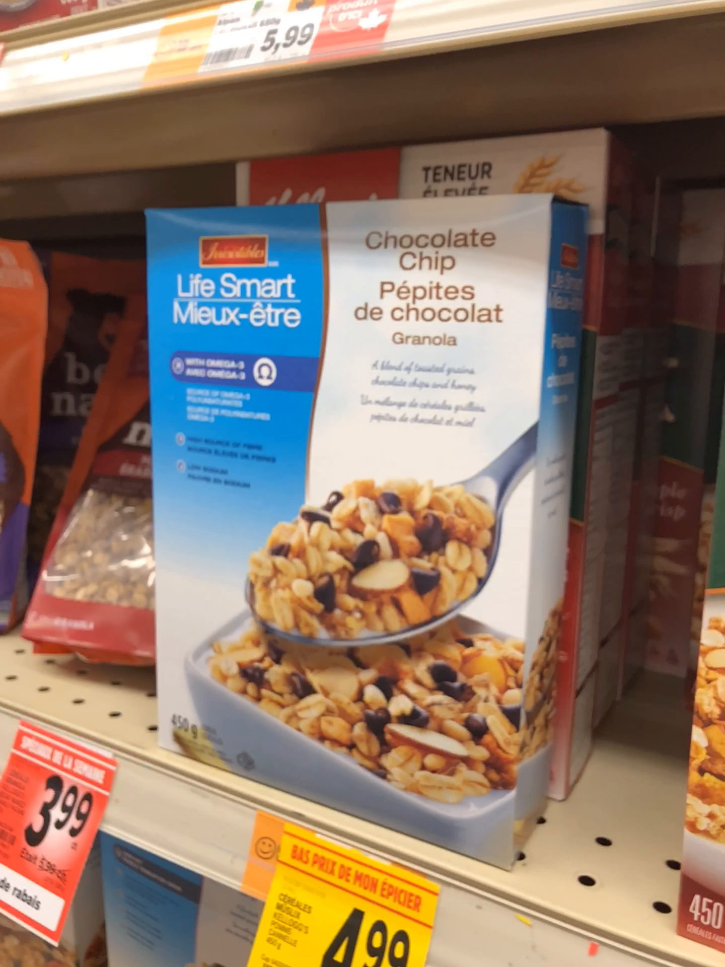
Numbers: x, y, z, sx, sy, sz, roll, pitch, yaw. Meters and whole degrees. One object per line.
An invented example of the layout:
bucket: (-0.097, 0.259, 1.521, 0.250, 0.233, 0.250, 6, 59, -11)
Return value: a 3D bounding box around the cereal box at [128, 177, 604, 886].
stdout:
cereal box: (-0.009, 0.010, 0.331, 0.180, 0.239, 0.050, 7, 9, 27)
